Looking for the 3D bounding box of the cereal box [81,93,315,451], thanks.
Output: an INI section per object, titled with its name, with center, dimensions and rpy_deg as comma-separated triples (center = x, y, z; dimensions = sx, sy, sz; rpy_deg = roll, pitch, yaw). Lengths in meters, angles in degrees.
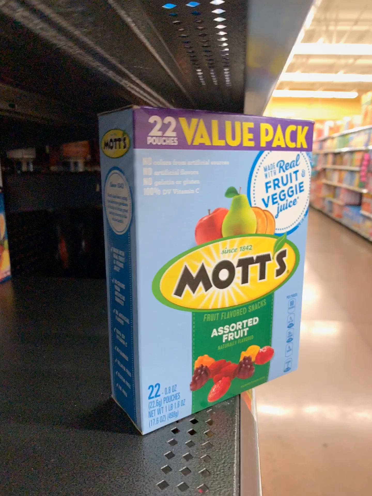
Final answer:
[cereal box]
center = 0.016, 0.011, 0.325
dimensions = 0.180, 0.239, 0.060
rpy_deg = -8, 14, -34
